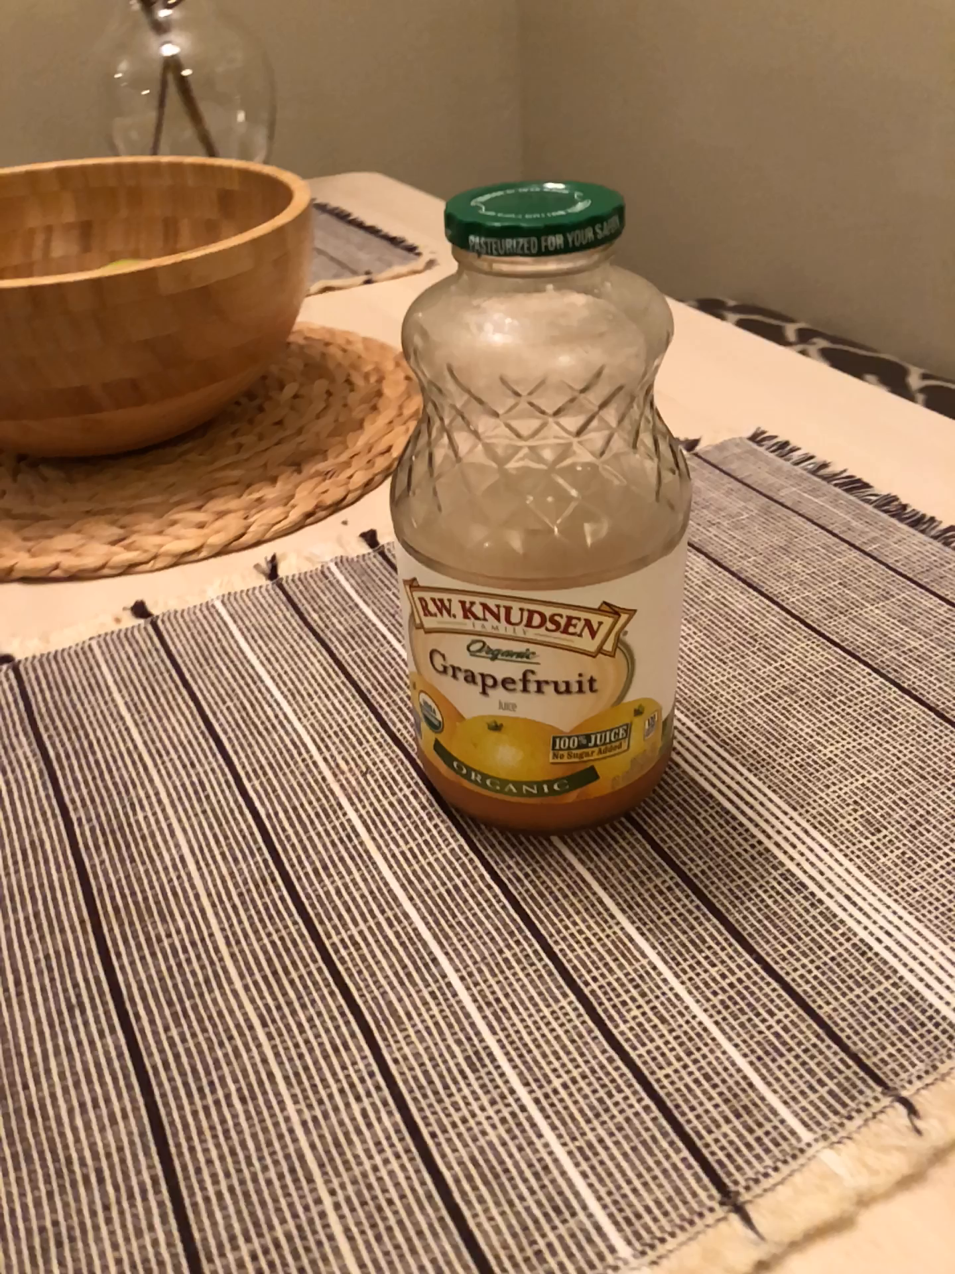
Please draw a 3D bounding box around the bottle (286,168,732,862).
[{"bbox_3d":[0.019,-0.039,0.341,0.100,0.189,0.101,-2,34,2],"label":"bottle"}]
